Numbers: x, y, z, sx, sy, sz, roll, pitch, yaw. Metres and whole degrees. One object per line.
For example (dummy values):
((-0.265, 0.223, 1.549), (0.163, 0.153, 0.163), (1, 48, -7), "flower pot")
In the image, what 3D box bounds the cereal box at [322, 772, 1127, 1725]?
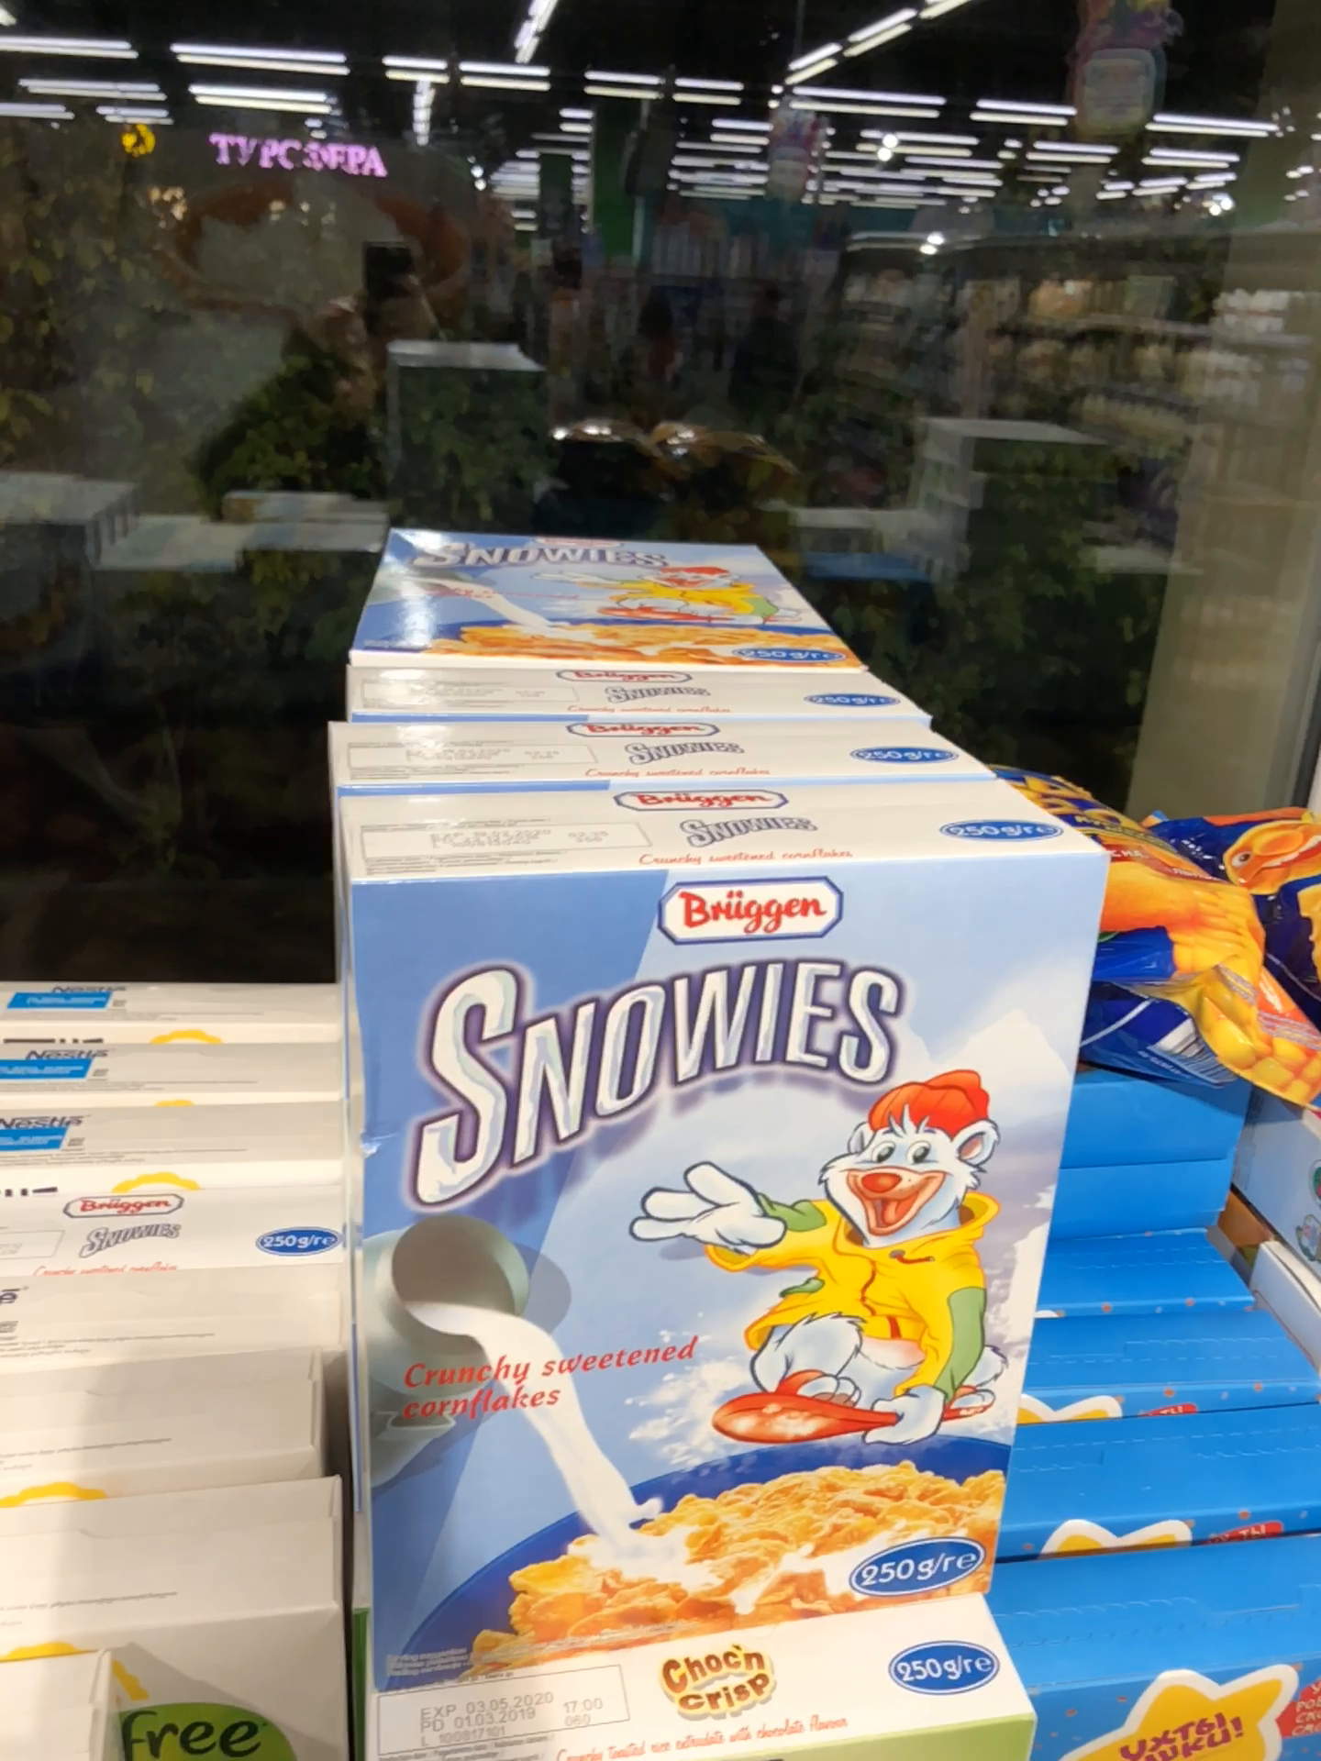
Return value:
((0.008, 0.105, 0.426), (0.200, 0.259, 0.070), (-2, 21, -13), "cereal box")
